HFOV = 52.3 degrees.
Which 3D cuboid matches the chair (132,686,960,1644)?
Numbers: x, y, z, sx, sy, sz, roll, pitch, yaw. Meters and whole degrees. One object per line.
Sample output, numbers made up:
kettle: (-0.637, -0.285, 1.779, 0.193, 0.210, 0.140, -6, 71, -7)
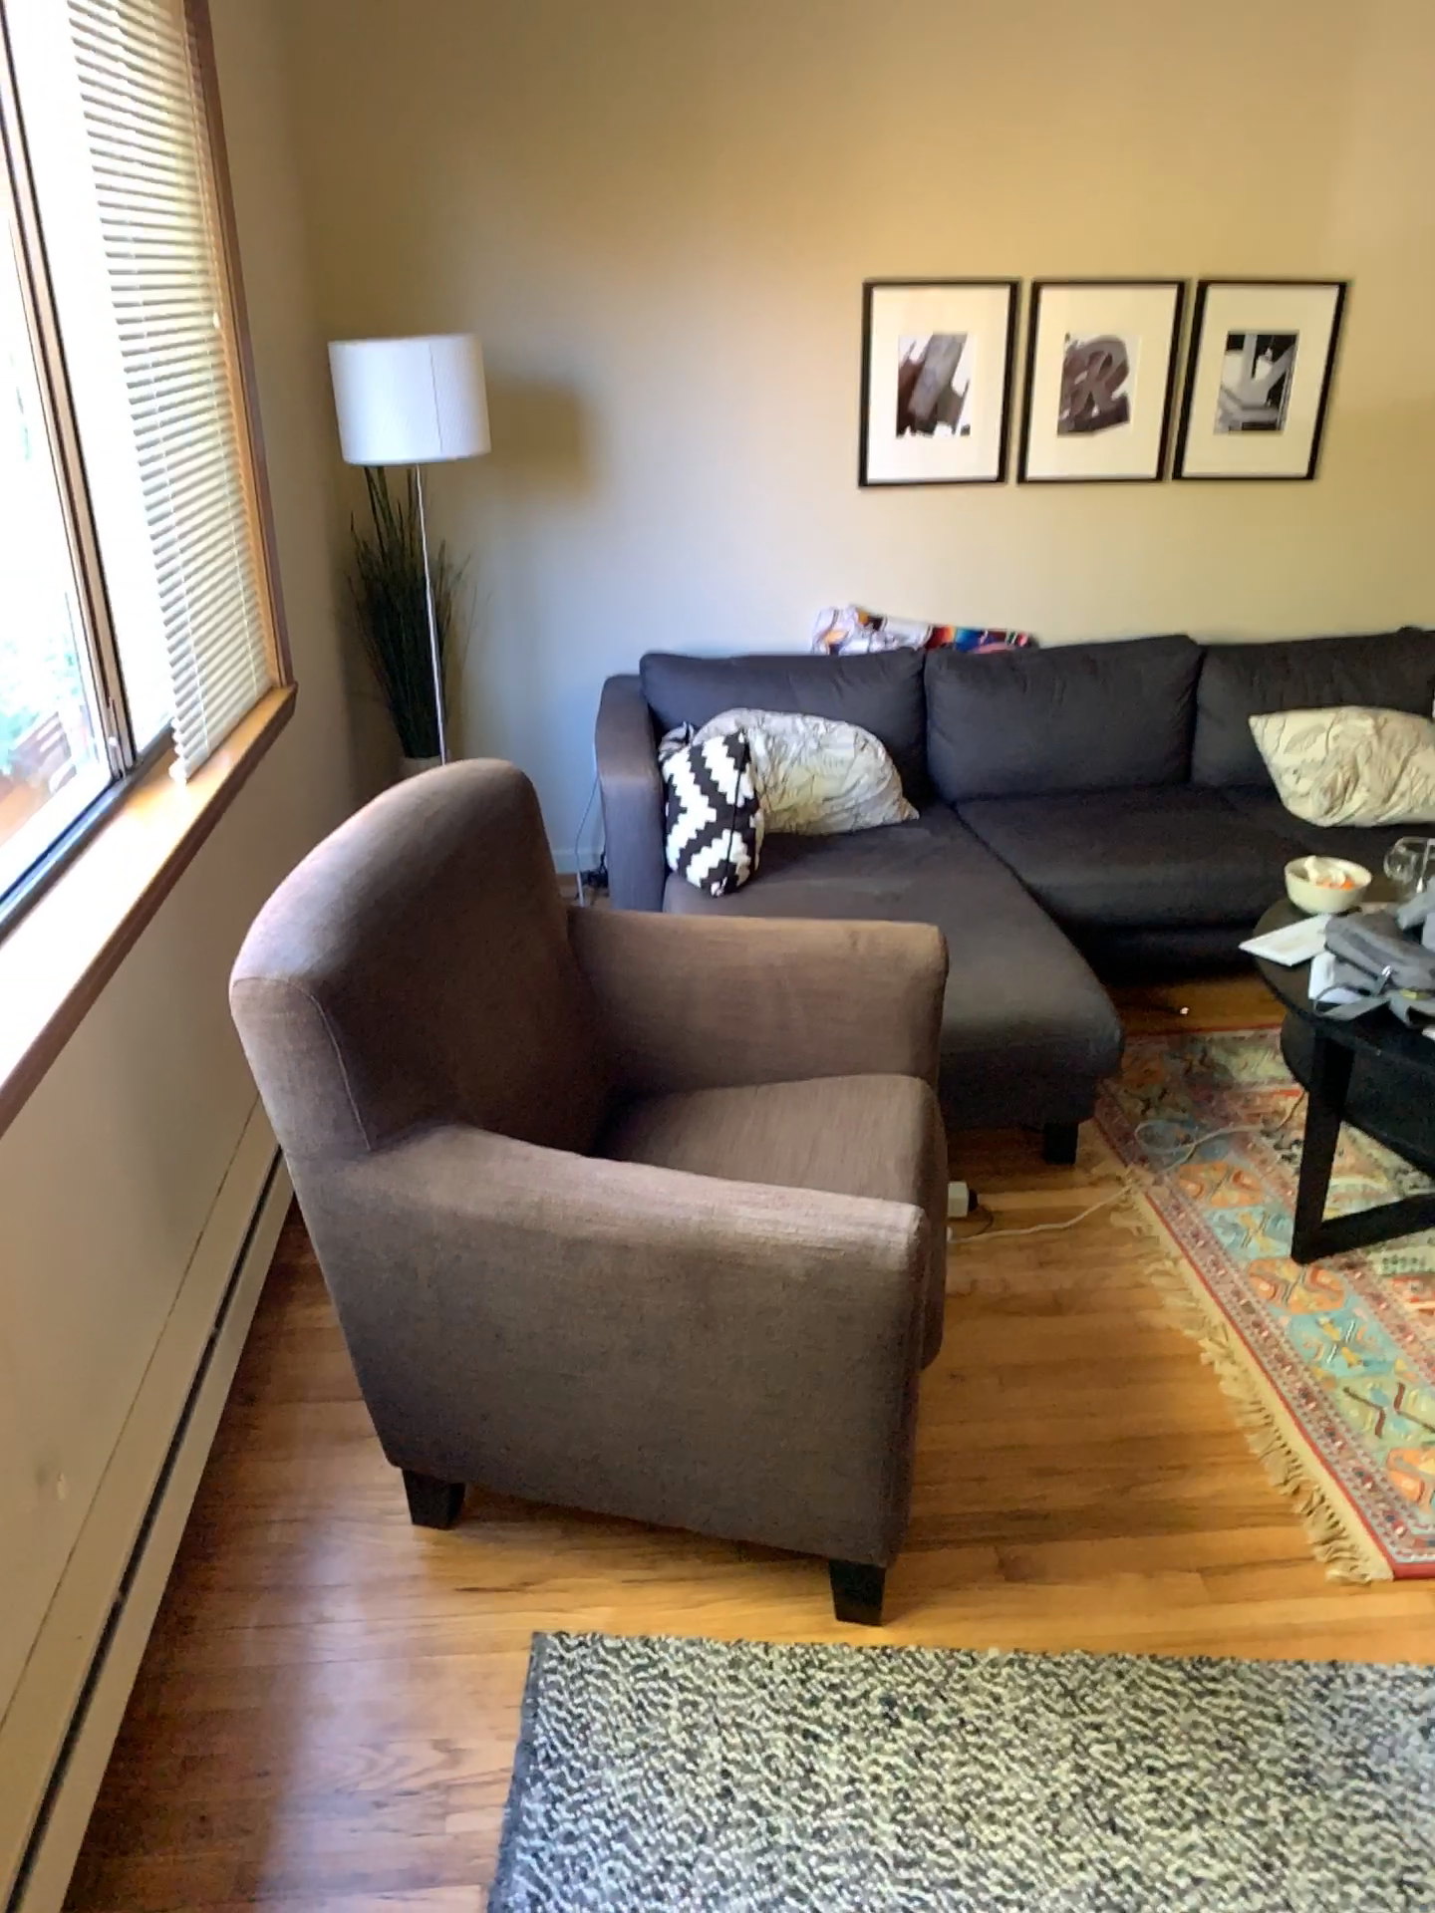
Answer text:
chair: (-0.088, 0.191, 1.941, 0.800, 0.875, 0.884, 1, 24, 9)
